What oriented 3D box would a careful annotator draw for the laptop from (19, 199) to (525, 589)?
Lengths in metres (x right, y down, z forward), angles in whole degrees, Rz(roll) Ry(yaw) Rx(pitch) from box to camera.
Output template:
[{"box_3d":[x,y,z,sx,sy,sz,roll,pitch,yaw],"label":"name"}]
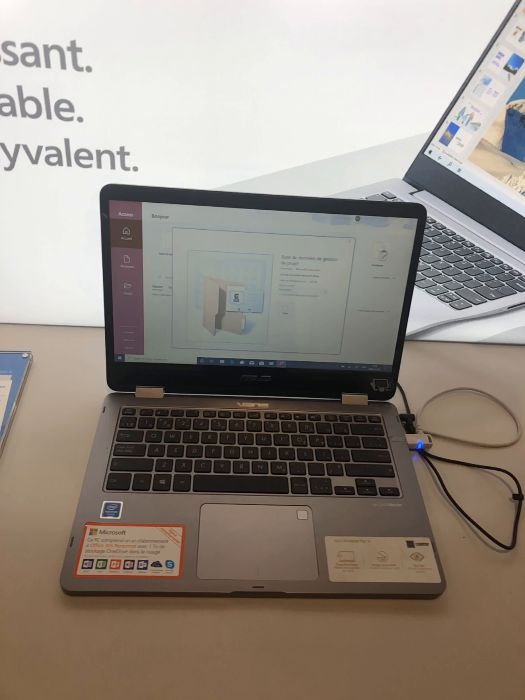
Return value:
[{"box_3d":[0.003,0.030,0.517,0.311,0.214,0.274,2,39,-5],"label":"laptop"}]
